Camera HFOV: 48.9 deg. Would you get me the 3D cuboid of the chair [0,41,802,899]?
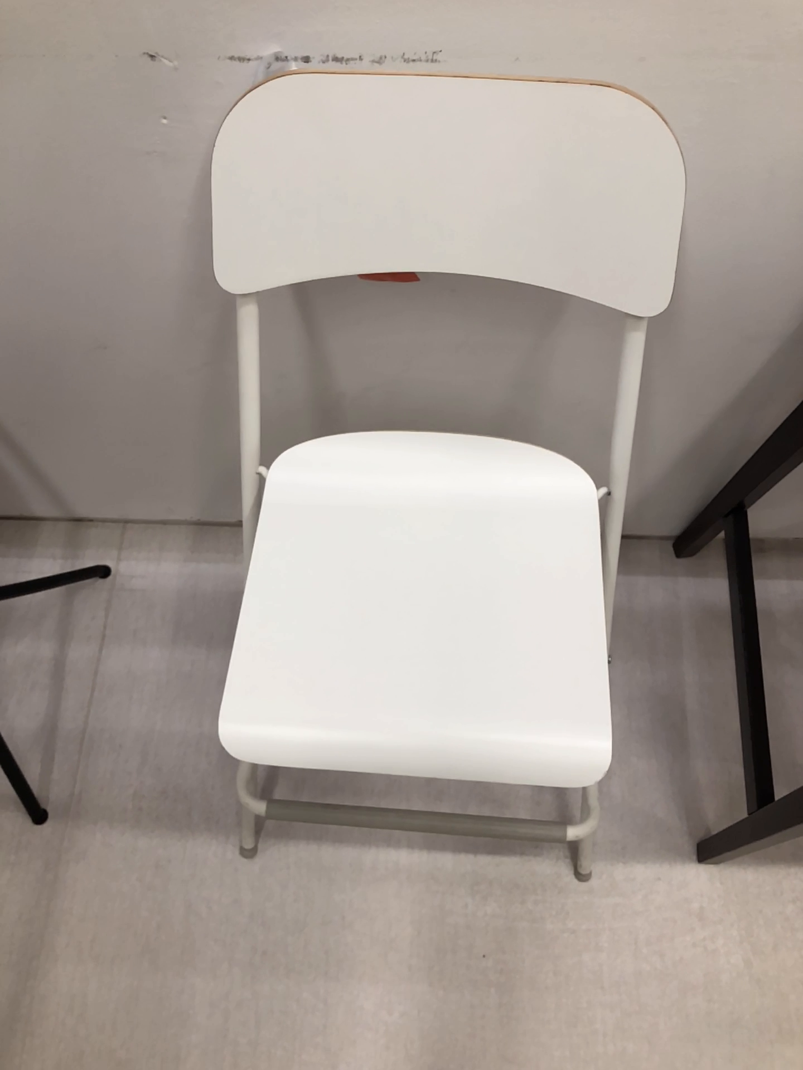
[{"bbox_3d":[0.019,0.074,0.905,0.530,0.897,0.482,2,65,2],"label":"chair"}]
